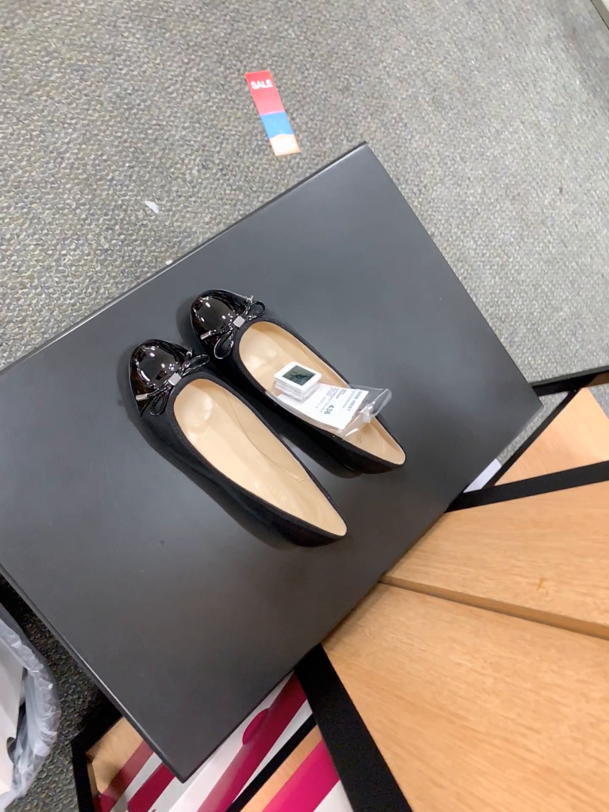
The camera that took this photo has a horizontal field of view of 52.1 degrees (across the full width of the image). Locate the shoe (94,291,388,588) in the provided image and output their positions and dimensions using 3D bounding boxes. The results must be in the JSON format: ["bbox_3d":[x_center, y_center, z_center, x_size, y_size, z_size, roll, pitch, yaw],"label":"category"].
[{"bbox_3d":[-0.058,0.035,0.554,0.250,0.100,0.090,48,69,-10],"label":"shoe"}]

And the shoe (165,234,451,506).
[{"bbox_3d":[0.002,-0.023,0.585,0.250,0.100,0.090,44,69,-12],"label":"shoe"}]
